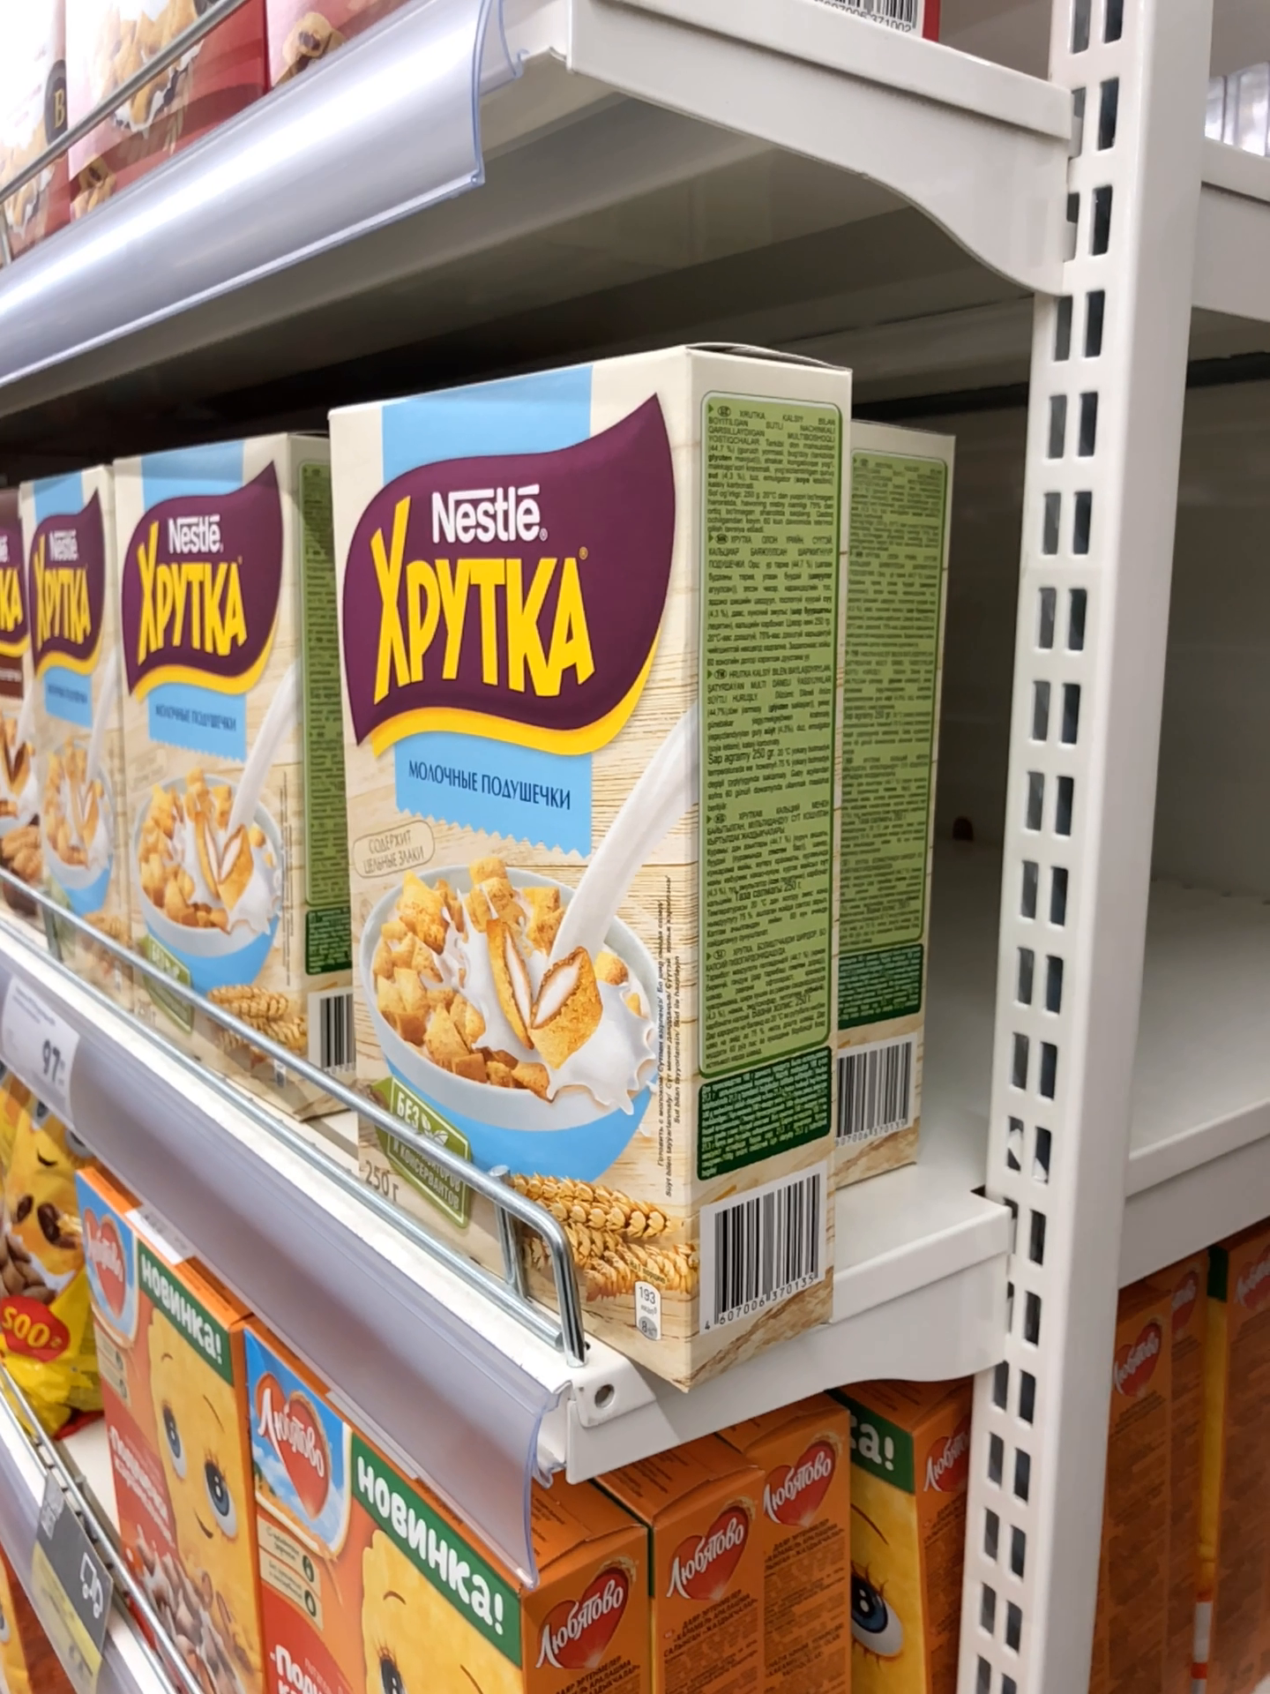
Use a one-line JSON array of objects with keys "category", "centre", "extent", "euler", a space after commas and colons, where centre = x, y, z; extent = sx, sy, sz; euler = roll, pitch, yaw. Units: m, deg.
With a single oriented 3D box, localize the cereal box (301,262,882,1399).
[{"category": "cereal box", "centre": [-0.019, -0.009, 0.341], "extent": [0.050, 0.219, 0.150], "euler": [-8, 13, -40]}]
